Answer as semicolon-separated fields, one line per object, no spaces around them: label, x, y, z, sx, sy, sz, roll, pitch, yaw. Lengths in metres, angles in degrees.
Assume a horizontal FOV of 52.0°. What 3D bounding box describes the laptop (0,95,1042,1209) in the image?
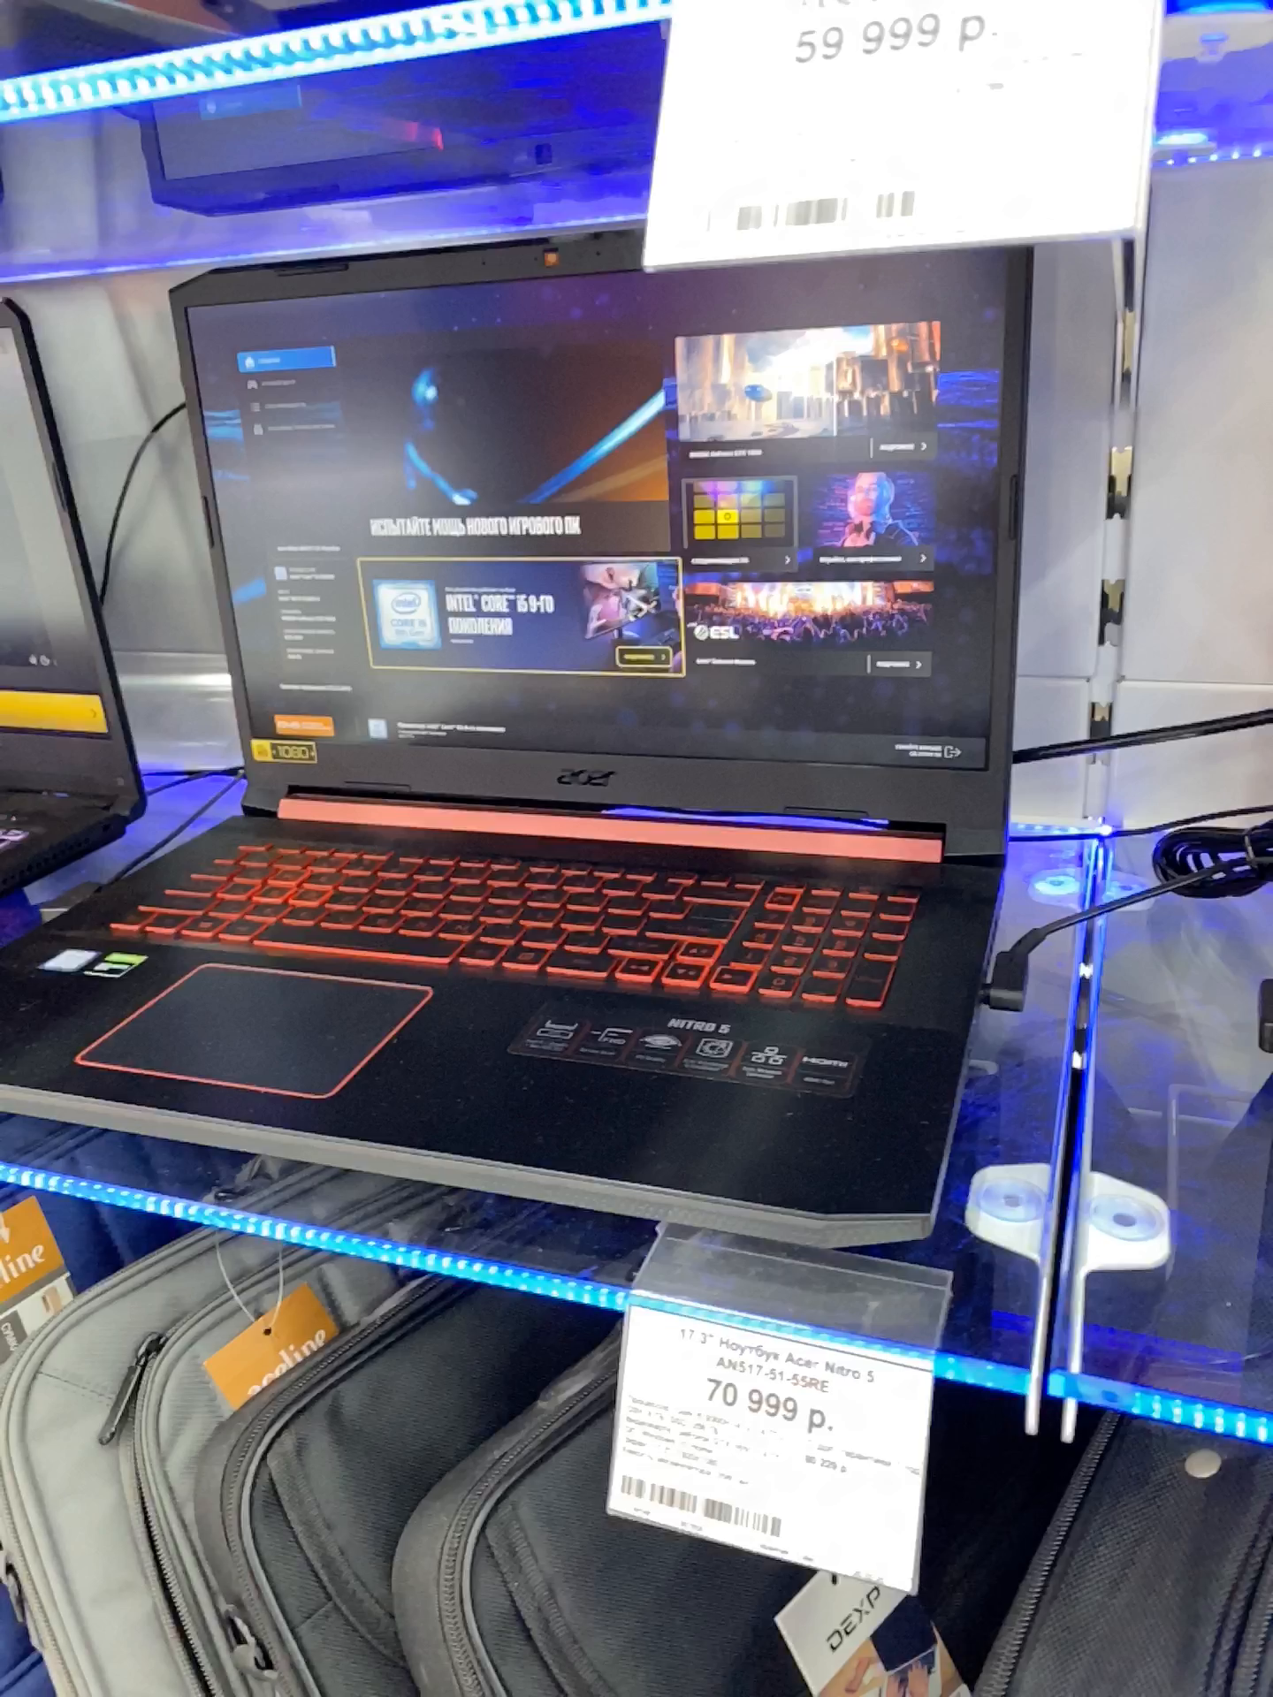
laptop;-0.073;-0.087;0.498;0.406;0.267;0.285;4;21;19
